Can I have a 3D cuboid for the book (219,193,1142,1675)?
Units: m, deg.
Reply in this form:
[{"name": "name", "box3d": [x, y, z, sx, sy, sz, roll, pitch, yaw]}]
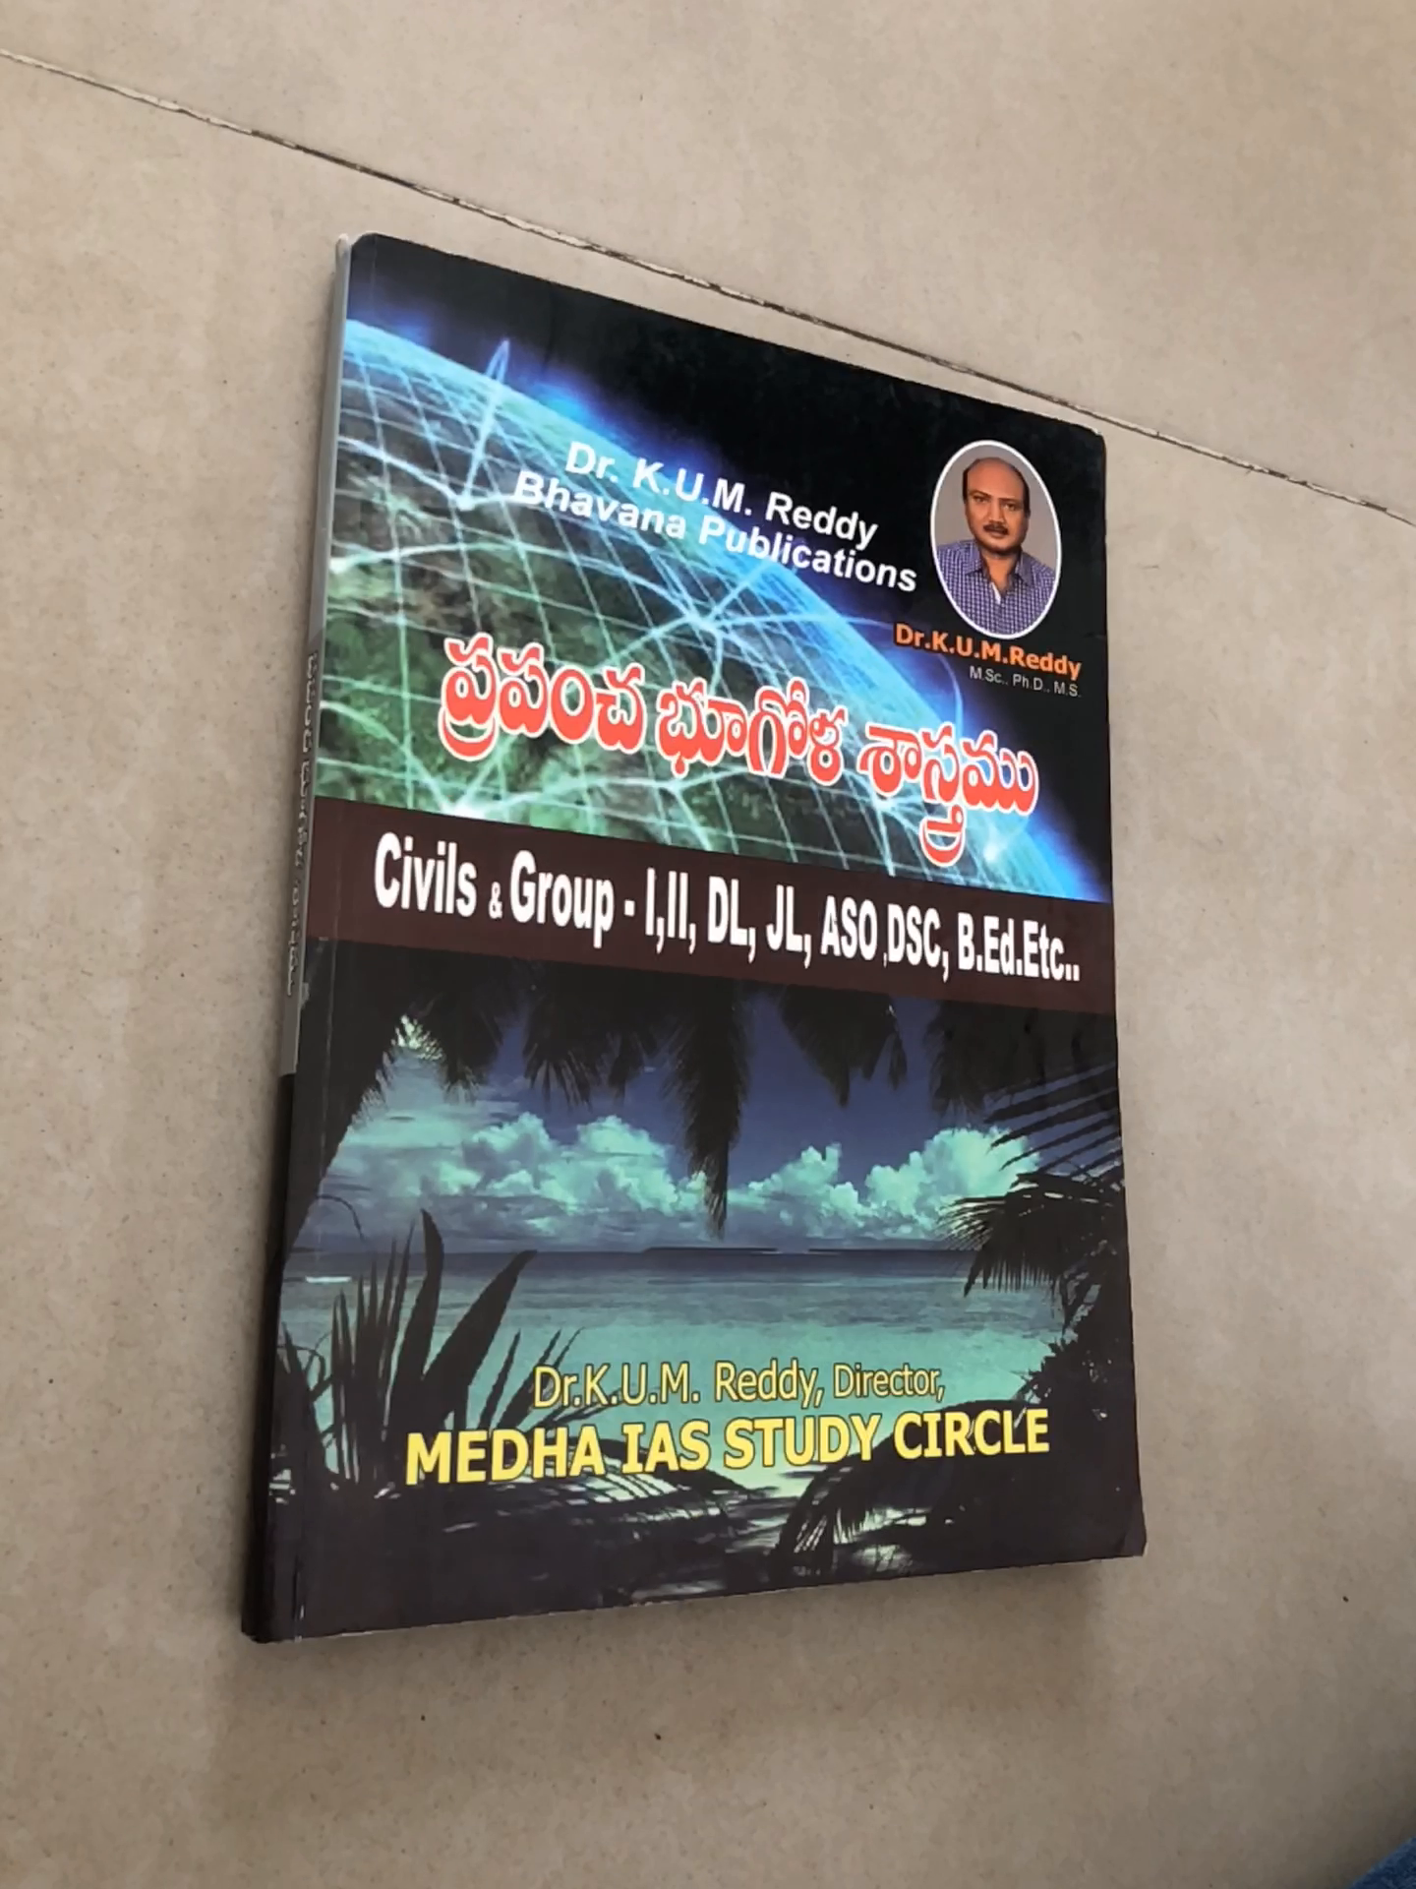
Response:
[{"name": "book", "box3d": [0.004, -0.003, 0.323, 0.180, 0.030, 0.260, 6, 79, -25]}]
